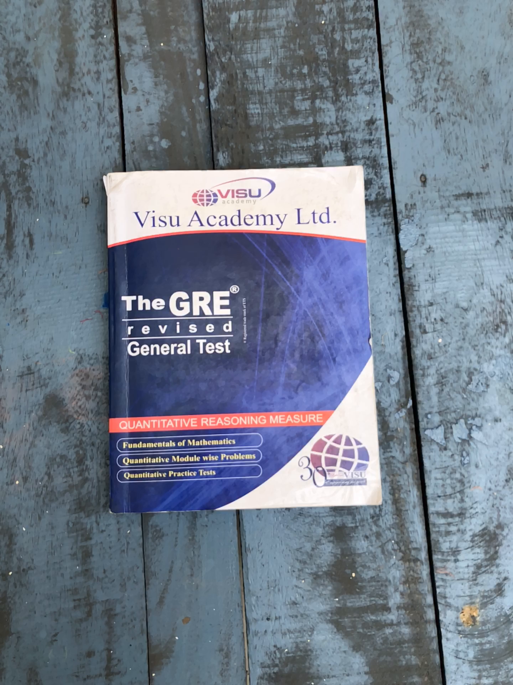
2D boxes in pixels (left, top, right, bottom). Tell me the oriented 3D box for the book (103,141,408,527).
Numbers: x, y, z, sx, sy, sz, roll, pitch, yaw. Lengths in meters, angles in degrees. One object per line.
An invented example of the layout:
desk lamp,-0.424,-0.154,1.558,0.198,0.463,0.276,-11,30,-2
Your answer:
book,-0.005,-0.009,0.463,0.220,0.060,0.290,-2,82,0
